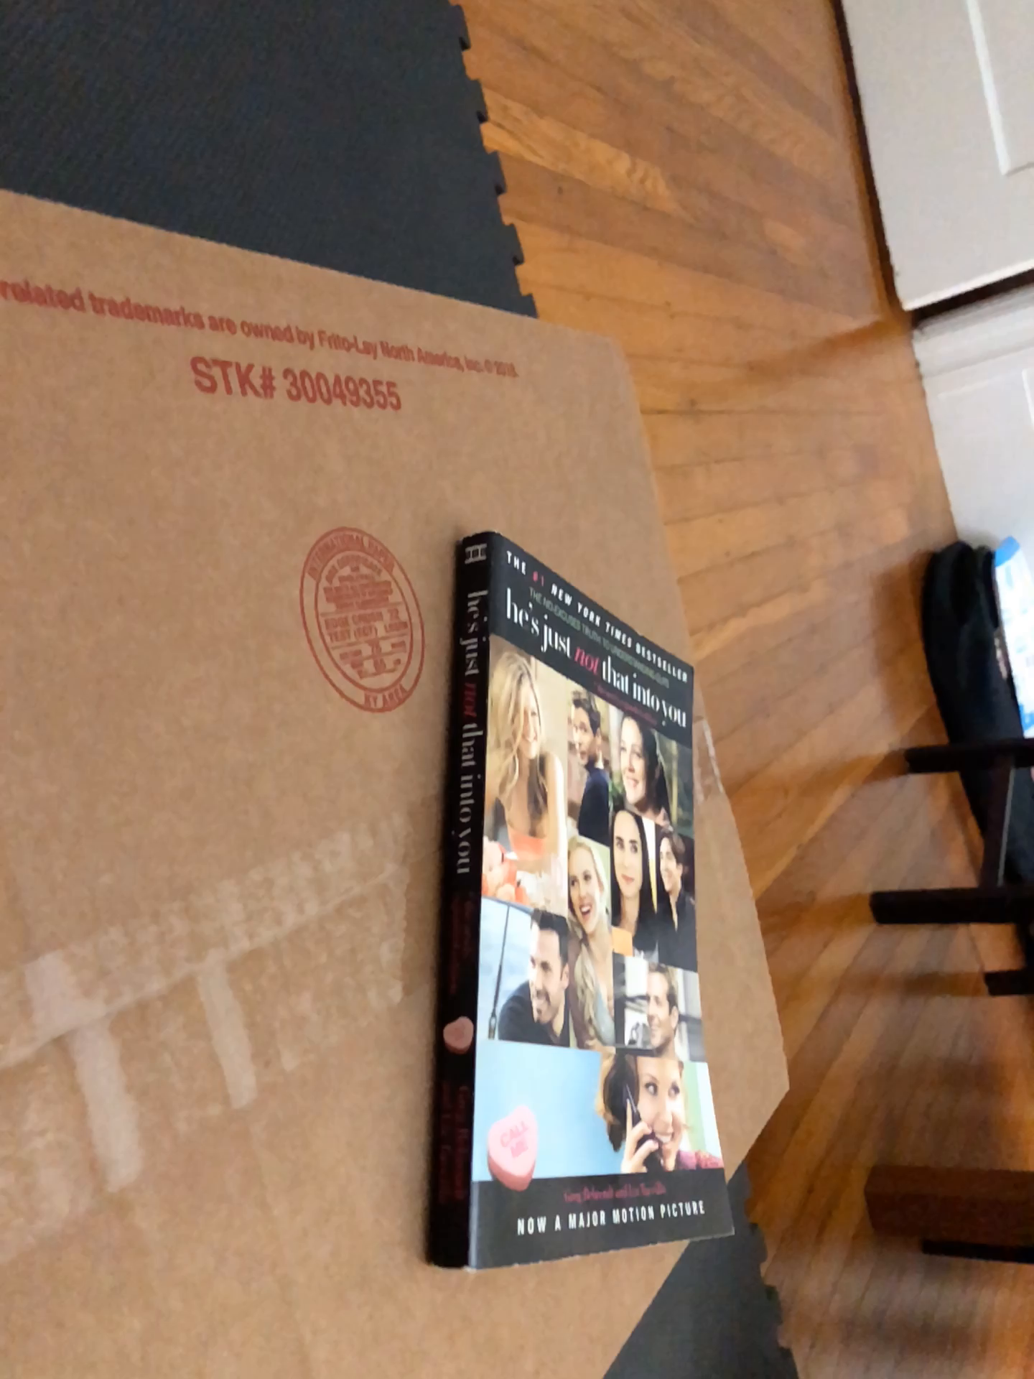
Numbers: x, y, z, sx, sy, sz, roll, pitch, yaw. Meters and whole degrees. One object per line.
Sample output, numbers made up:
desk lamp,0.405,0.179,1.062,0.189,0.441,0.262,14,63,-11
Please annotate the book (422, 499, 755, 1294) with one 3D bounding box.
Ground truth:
book,0.031,0.067,0.373,0.161,0.020,0.210,26,59,-52
